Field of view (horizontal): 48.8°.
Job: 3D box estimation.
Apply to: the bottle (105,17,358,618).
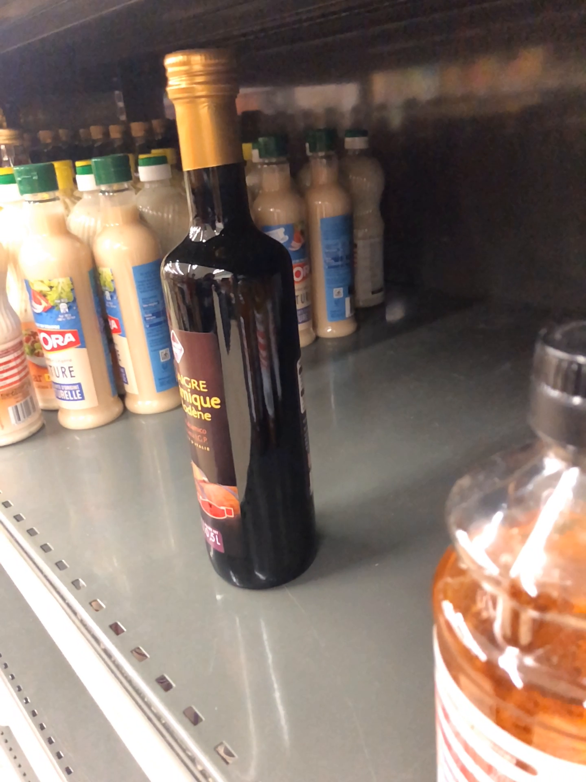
[{"bbox_3d":[-0.023,-0.028,0.324,0.070,0.269,0.070,-5,22,2],"label":"bottle"}]
